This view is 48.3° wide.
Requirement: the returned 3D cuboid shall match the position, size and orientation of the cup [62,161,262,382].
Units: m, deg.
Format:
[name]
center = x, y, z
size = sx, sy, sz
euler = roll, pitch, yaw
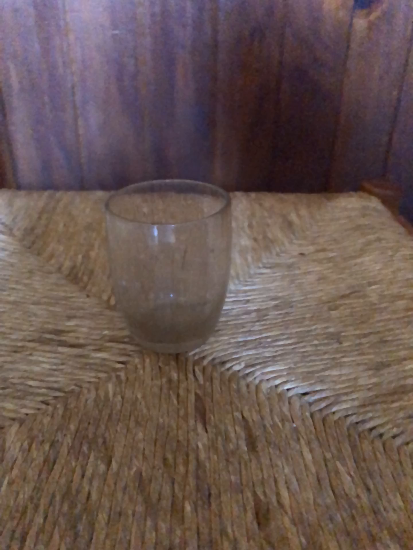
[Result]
[cup]
center = -0.019, -0.007, 0.241
size = 0.070, 0.080, 0.070
euler = 1, 30, -1
